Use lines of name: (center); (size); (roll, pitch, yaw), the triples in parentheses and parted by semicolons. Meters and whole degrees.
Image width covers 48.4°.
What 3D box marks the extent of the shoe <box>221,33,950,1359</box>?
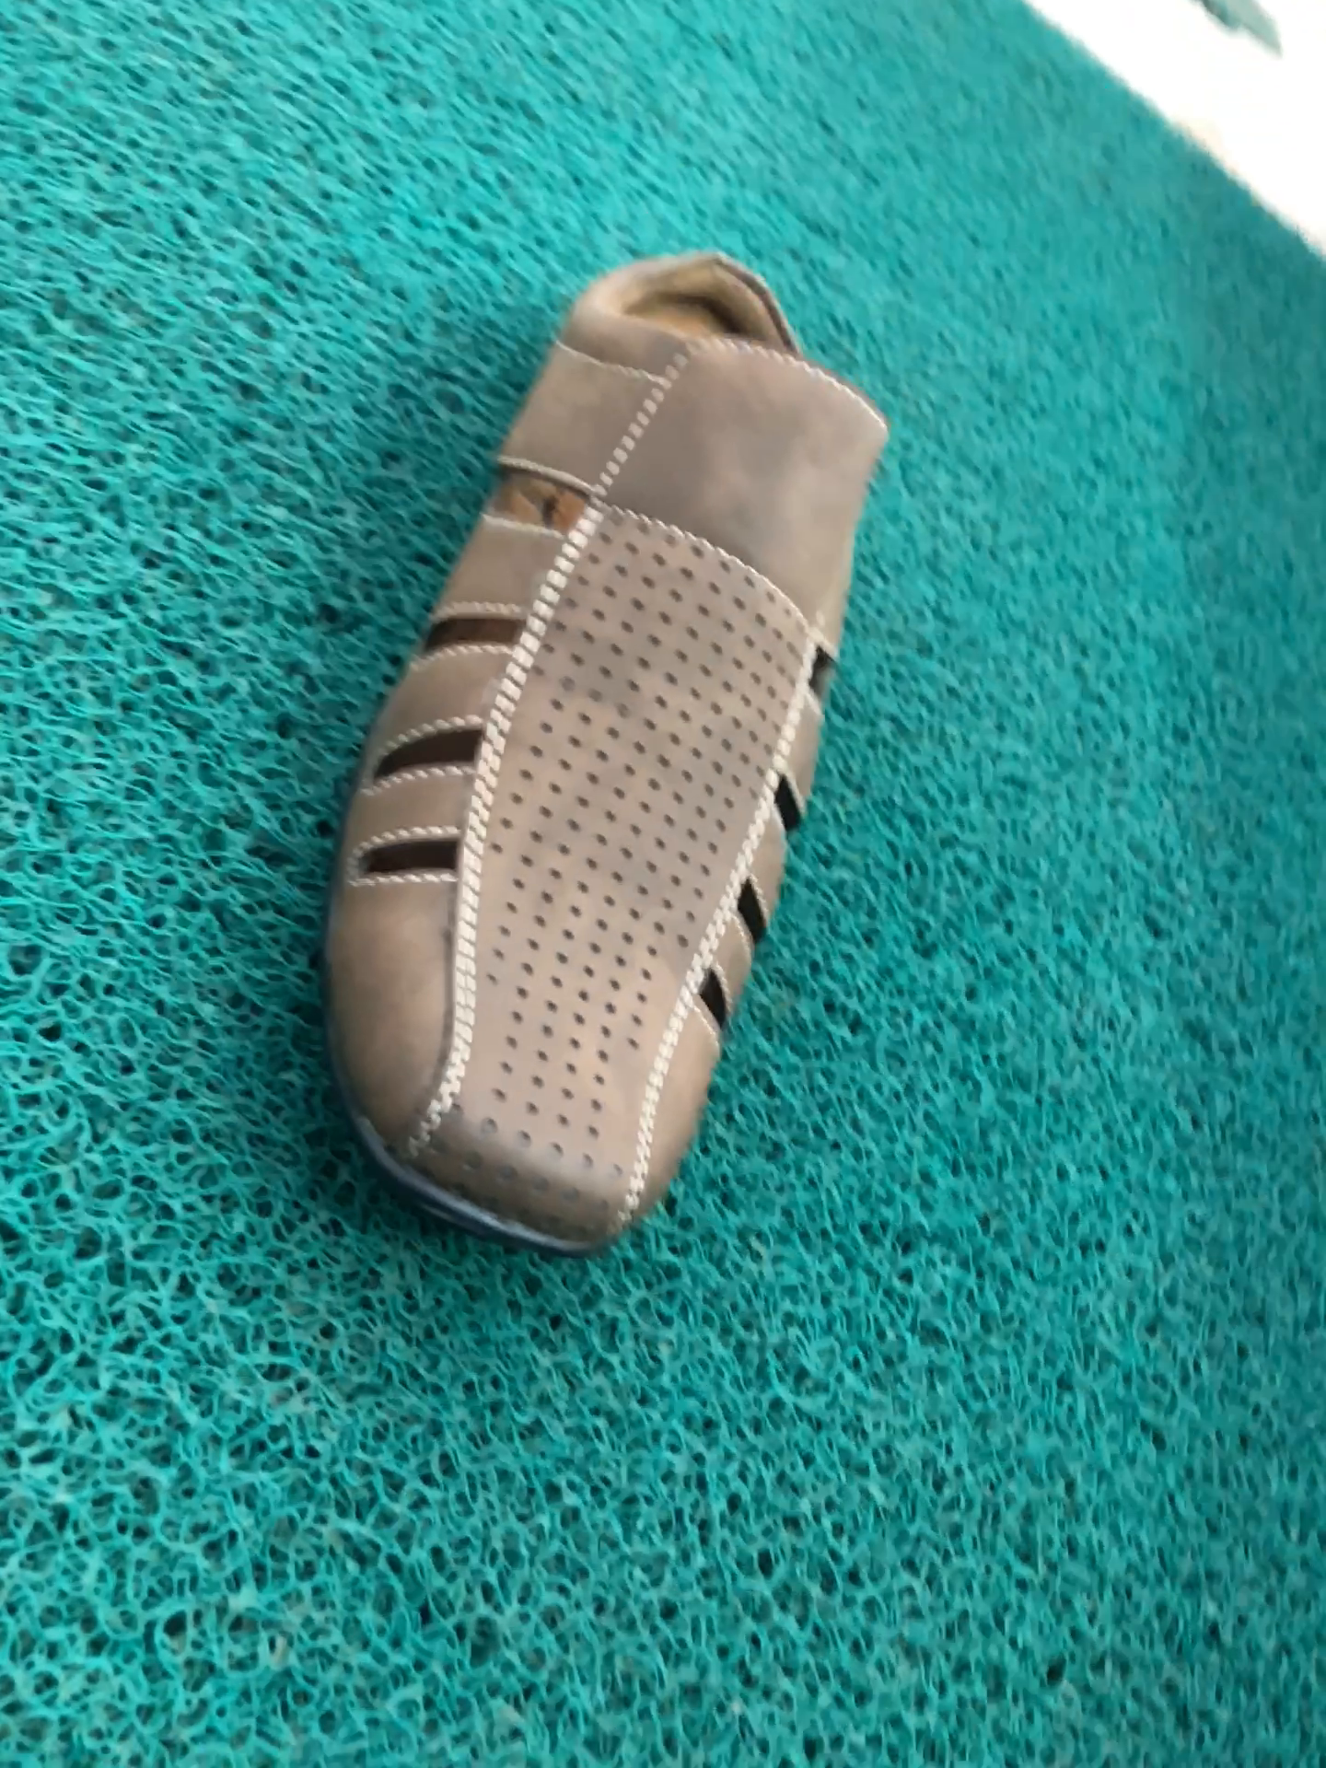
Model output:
shoe: (0.002, -0.060, 0.322); (0.090, 0.070, 0.291); (25, 51, -21)
